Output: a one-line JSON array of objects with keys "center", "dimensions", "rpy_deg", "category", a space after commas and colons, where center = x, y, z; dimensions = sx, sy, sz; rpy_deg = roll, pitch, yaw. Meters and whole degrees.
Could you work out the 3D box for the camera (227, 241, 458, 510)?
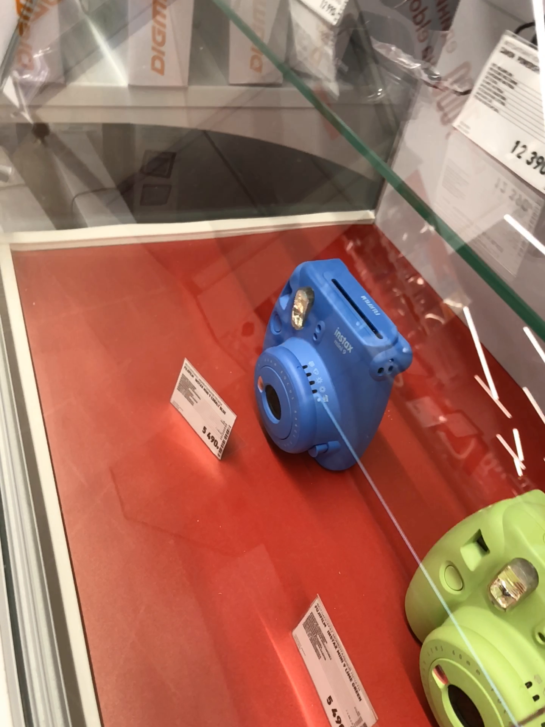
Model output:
[{"center": [0.035, 0.005, 0.396], "dimensions": [0.070, 0.109, 0.123], "rpy_deg": [-15, 50, -27], "category": "camera"}]
